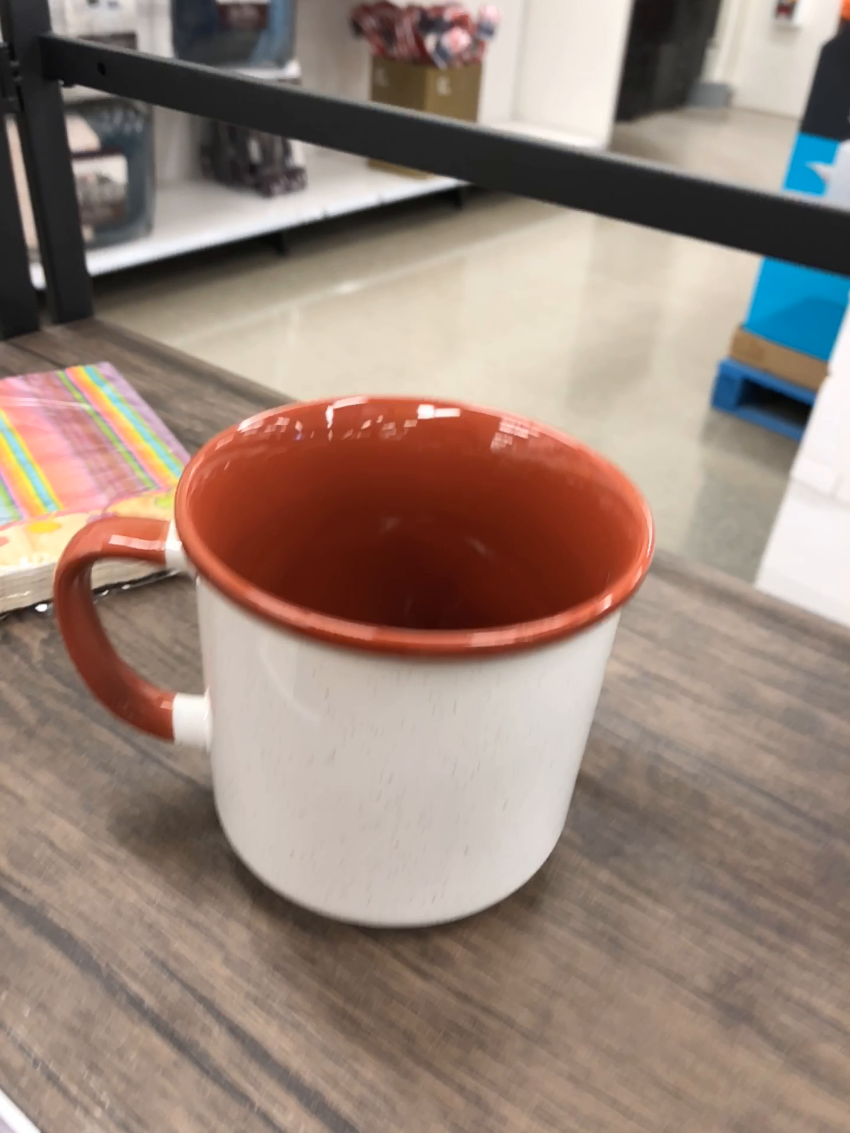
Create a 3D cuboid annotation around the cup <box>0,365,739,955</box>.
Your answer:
[{"bbox_3d":[-0.020,0.018,0.242,0.150,0.090,0.111,4,35,-2],"label":"cup"}]
